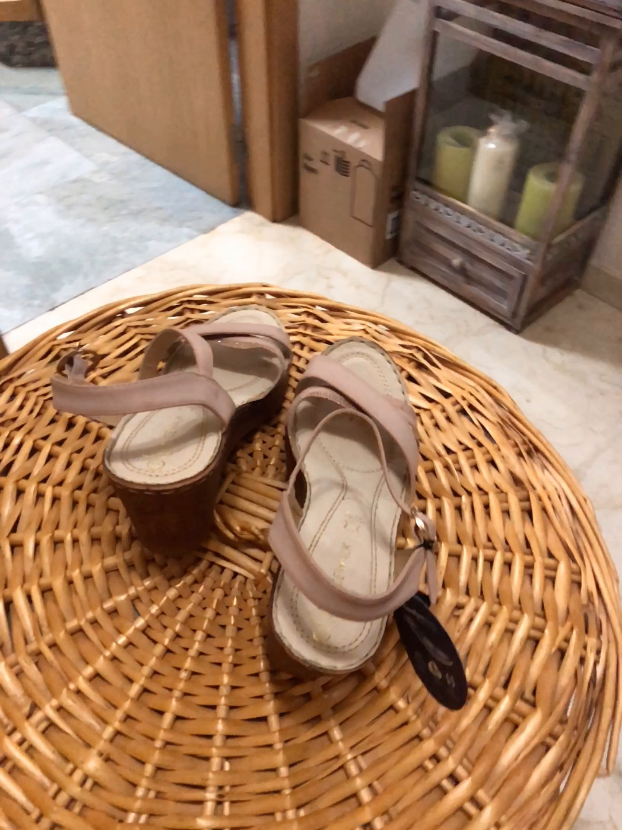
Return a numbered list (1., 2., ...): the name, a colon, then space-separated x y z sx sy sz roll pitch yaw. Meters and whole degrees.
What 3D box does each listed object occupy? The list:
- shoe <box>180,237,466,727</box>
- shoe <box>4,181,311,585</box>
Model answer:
1. shoe: 0.022 0.021 0.403 0.100 0.104 0.261 10 50 8
2. shoe: -0.075 -0.035 0.447 0.111 0.100 0.252 7 49 5
